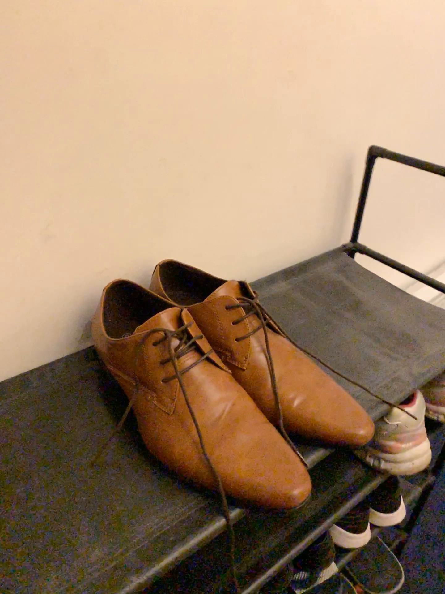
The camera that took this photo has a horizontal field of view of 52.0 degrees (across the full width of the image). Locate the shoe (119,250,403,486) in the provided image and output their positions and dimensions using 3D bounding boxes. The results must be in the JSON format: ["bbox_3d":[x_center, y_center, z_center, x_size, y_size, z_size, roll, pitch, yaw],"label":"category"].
[{"bbox_3d":[0.024,0.056,0.508,0.301,0.099,0.101,26,40,34],"label":"shoe"}]

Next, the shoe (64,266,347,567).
[{"bbox_3d":[-0.038,0.085,0.451,0.100,0.099,0.301,-23,39,-33],"label":"shoe"}]
